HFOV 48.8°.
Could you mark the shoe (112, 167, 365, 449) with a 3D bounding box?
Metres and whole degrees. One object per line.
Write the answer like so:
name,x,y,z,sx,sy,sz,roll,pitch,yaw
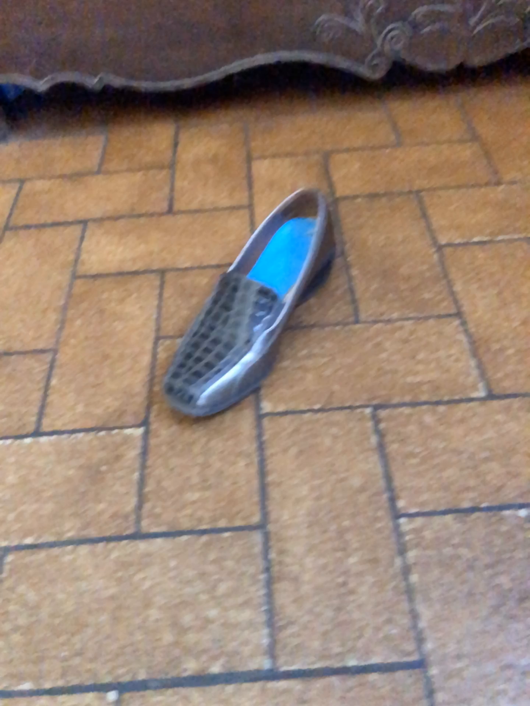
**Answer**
shoe,-0.009,-0.053,0.536,0.090,0.090,0.261,23,56,22
